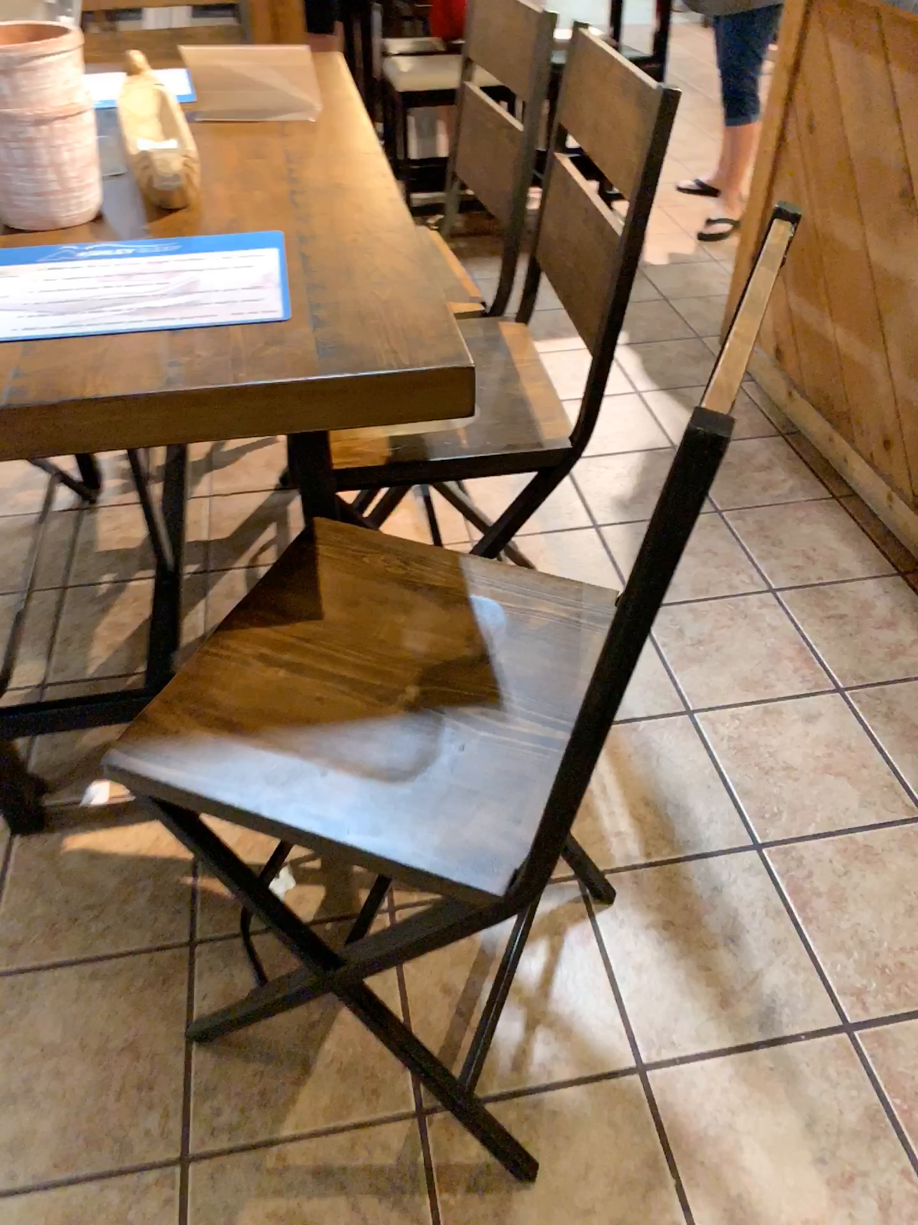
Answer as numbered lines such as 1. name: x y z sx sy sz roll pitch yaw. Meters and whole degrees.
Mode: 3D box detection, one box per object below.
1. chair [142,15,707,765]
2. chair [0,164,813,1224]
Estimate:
1. chair: -0.049 -0.314 1.518 0.615 1.003 0.495 -9 42 -6
2. chair: -0.057 0.115 1.012 0.616 0.983 0.444 13 41 19
